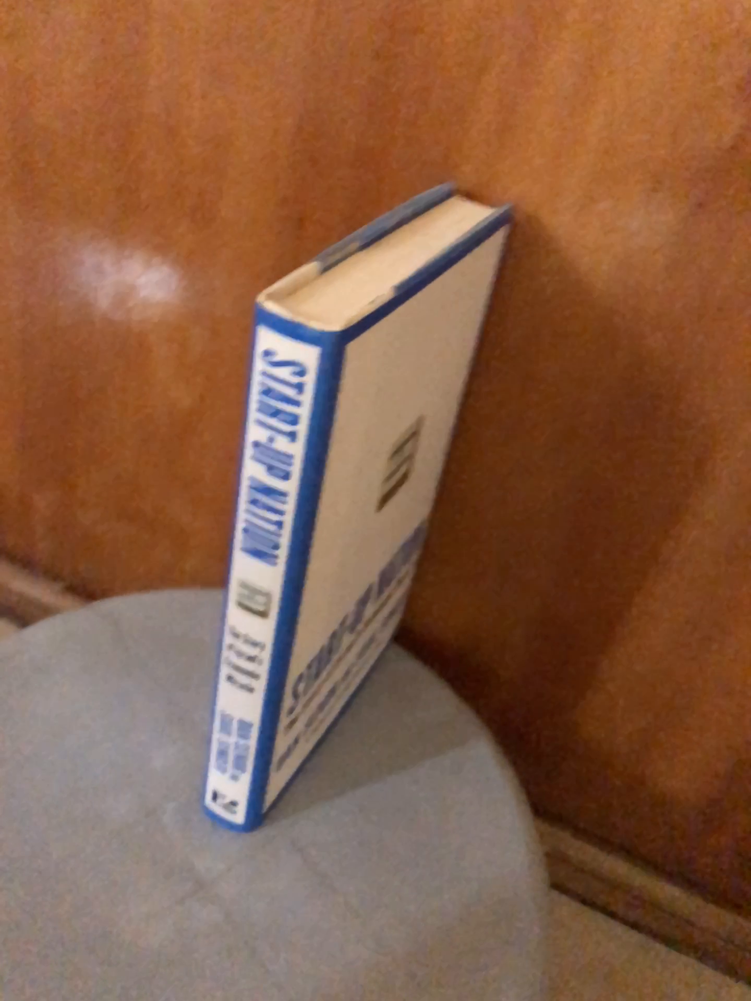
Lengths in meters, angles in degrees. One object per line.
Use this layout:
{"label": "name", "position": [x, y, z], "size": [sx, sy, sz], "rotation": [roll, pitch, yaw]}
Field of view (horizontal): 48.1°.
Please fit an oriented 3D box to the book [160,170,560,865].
{"label": "book", "position": [-0.004, -0.002, 0.351], "size": [0.040, 0.229, 0.201], "rotation": [24, 35, 18]}
